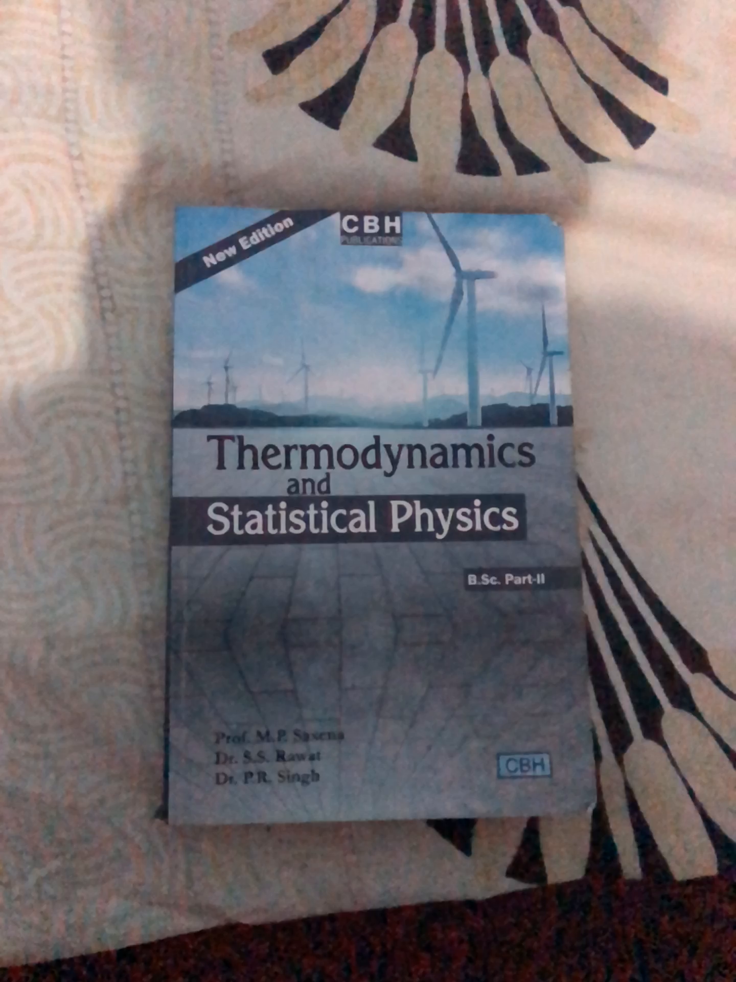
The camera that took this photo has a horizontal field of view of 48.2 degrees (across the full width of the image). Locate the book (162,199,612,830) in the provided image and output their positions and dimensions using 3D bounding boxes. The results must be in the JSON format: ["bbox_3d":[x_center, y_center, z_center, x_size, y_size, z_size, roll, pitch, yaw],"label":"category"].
[{"bbox_3d":[0.006,0.006,0.333,0.170,0.030,0.240,-1,86,-4],"label":"book"}]
